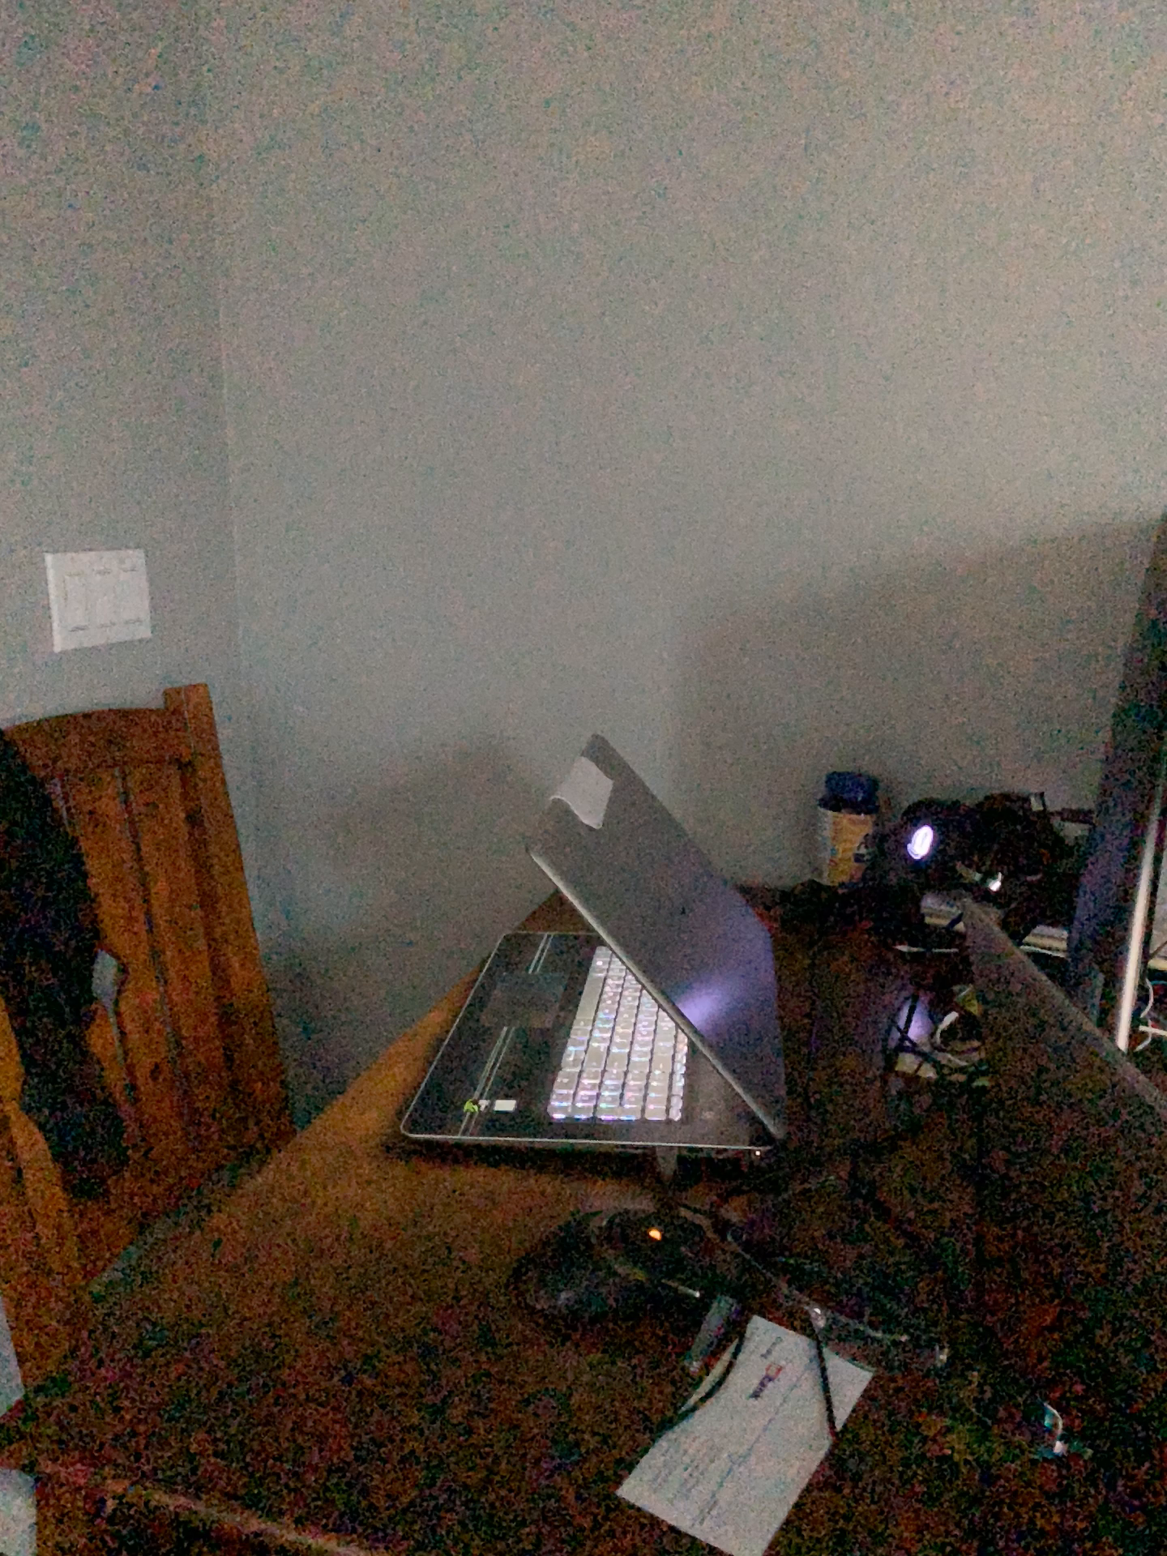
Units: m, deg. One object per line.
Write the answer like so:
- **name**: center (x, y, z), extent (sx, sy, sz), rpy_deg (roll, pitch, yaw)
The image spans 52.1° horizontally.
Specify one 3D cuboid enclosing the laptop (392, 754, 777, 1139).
- **laptop**: center (0.022, 0.112, 0.995), extent (0.256, 0.188, 0.394), rpy_deg (0, 12, 8)
